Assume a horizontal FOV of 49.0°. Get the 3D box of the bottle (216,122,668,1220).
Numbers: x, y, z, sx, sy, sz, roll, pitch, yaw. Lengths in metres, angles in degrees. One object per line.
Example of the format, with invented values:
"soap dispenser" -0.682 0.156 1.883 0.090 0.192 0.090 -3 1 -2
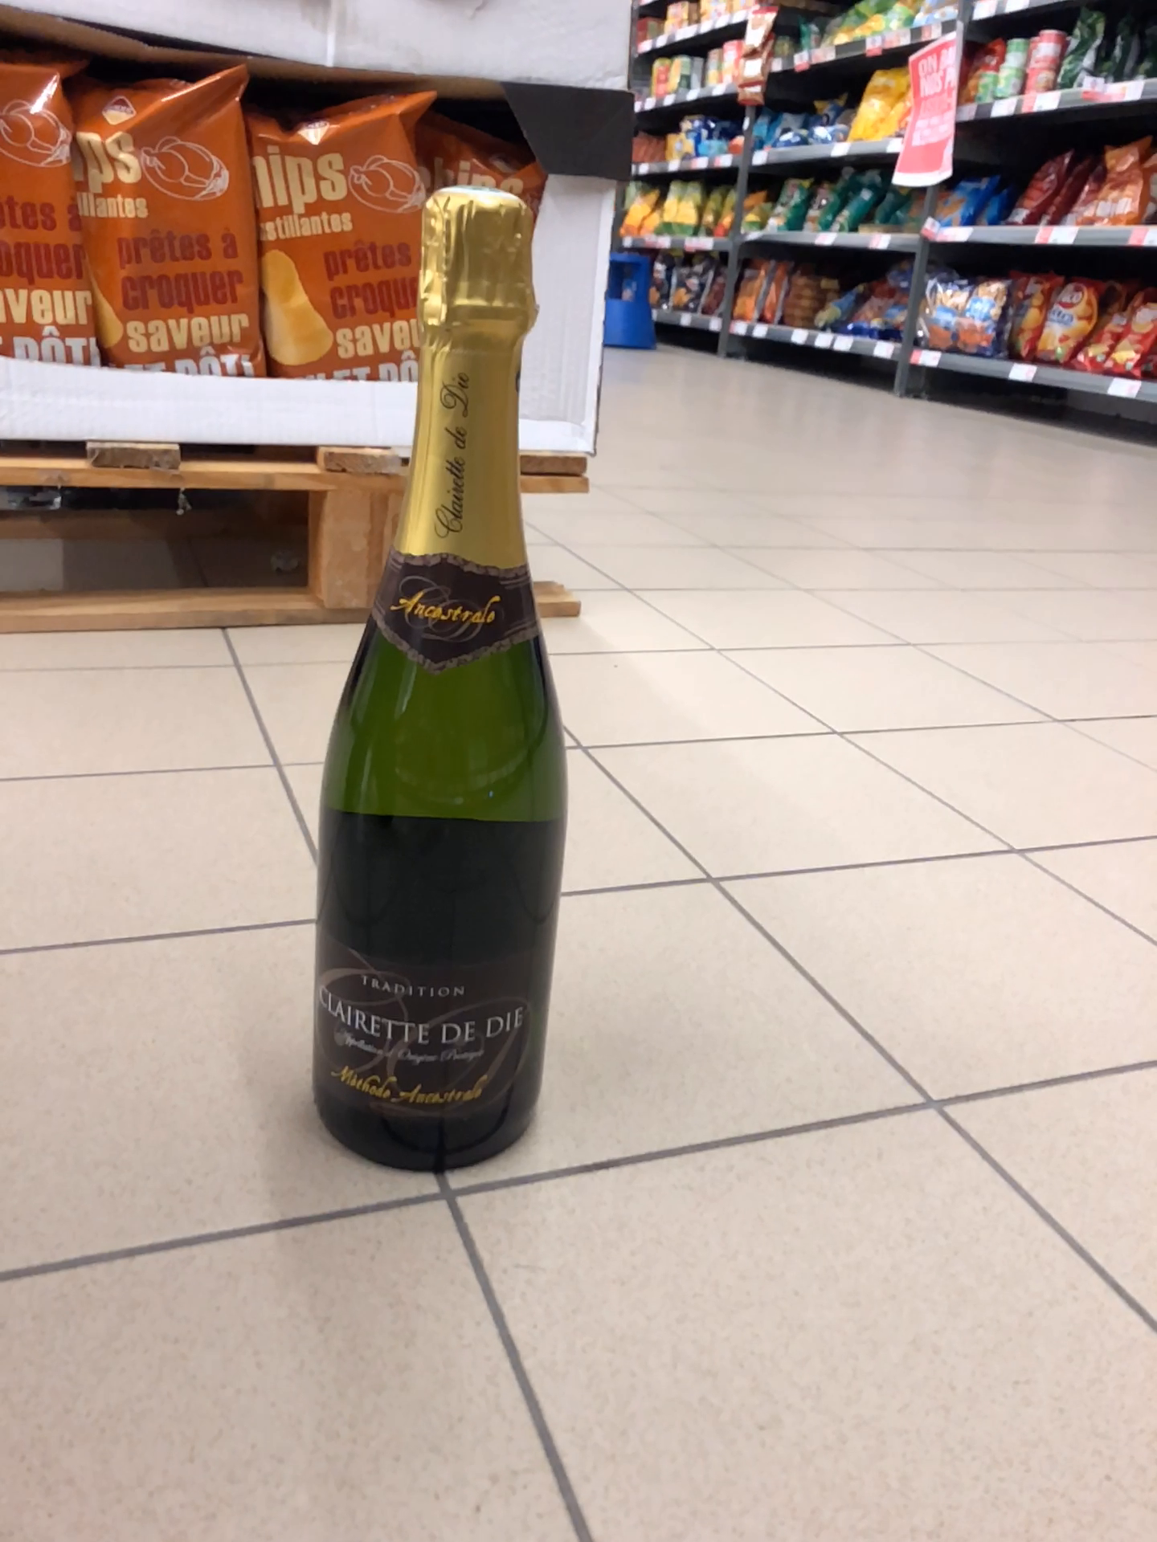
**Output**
"bottle" -0.045 -0.026 0.417 0.100 0.318 0.101 4 20 -2
